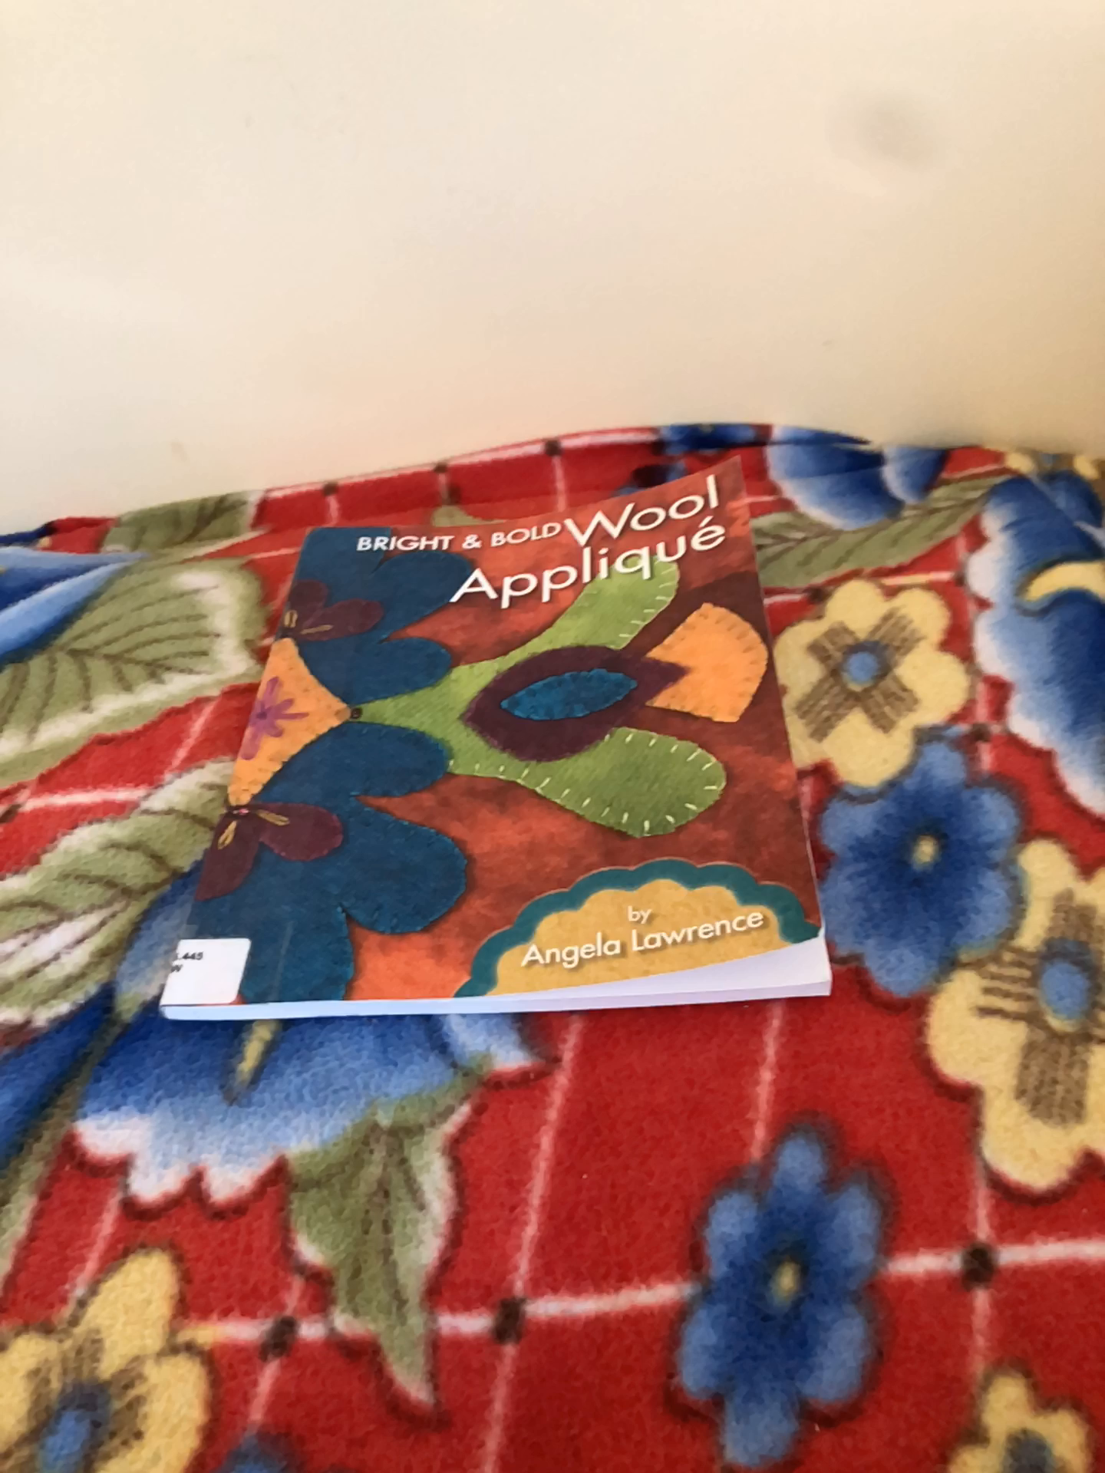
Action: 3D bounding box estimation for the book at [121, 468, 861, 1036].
[{"bbox_3d":[-0.019,-0.013,0.463,0.220,0.020,0.265,-5,43,5],"label":"book"}]
